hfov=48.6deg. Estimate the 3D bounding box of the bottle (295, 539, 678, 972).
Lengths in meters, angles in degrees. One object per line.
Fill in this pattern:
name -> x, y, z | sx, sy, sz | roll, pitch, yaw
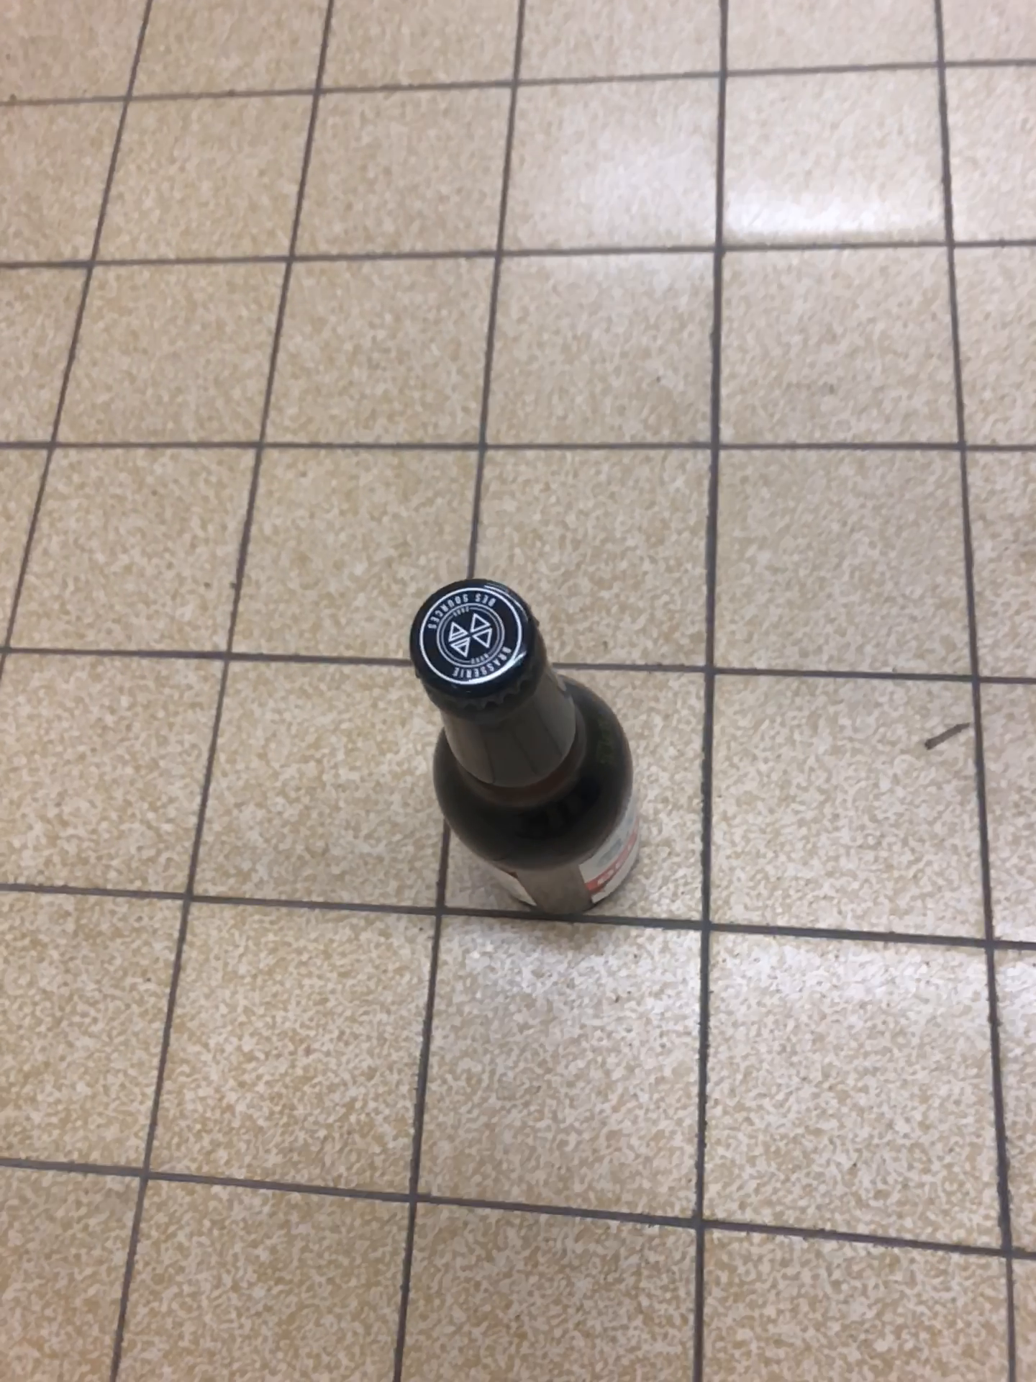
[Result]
bottle -> 0.006, 0.037, 0.334 | 0.070, 0.220, 0.060 | -11, 71, 4
